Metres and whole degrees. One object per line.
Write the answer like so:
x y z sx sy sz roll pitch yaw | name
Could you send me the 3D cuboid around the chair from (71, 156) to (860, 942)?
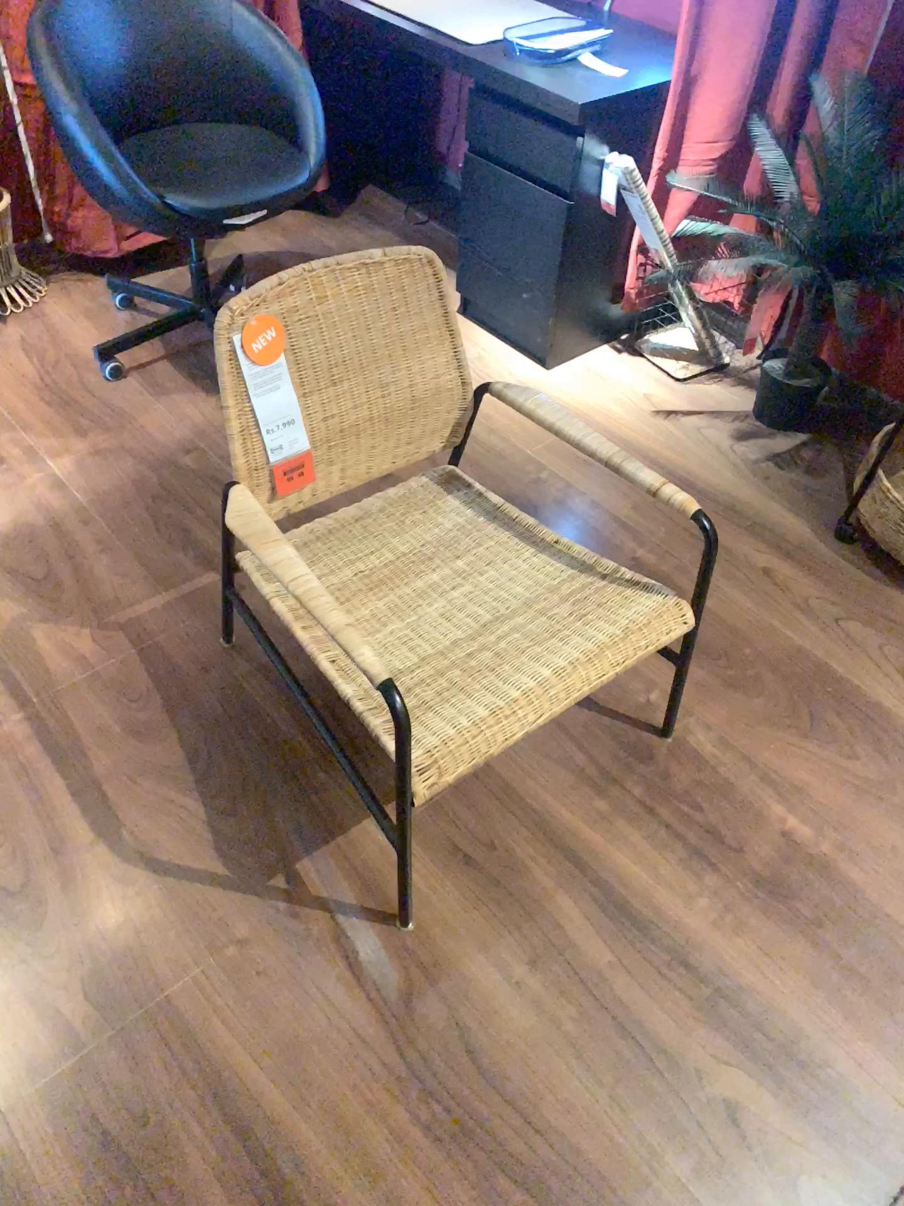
-0.021 -0.131 1.490 0.711 0.757 0.791 -28 54 -29 | chair
